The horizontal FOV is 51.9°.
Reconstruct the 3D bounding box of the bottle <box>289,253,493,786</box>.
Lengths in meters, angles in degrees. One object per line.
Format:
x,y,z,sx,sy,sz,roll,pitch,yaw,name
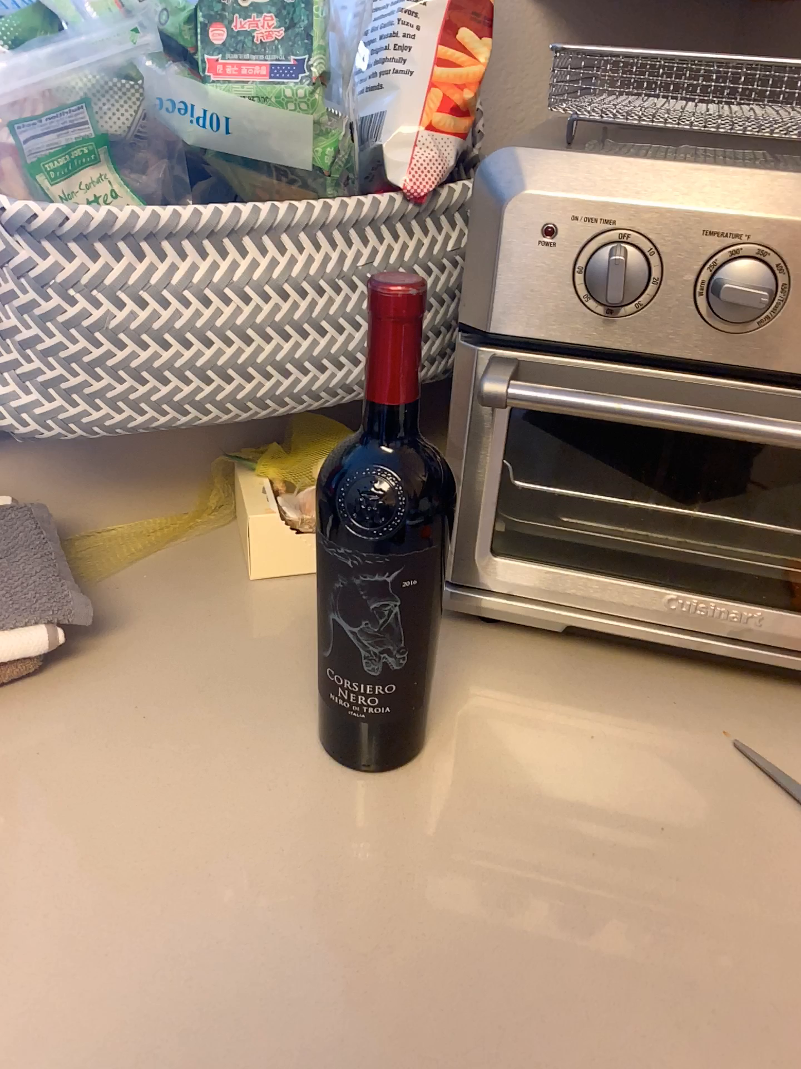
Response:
-0.009,0.003,0.446,0.080,0.278,0.070,9,30,9,bottle
